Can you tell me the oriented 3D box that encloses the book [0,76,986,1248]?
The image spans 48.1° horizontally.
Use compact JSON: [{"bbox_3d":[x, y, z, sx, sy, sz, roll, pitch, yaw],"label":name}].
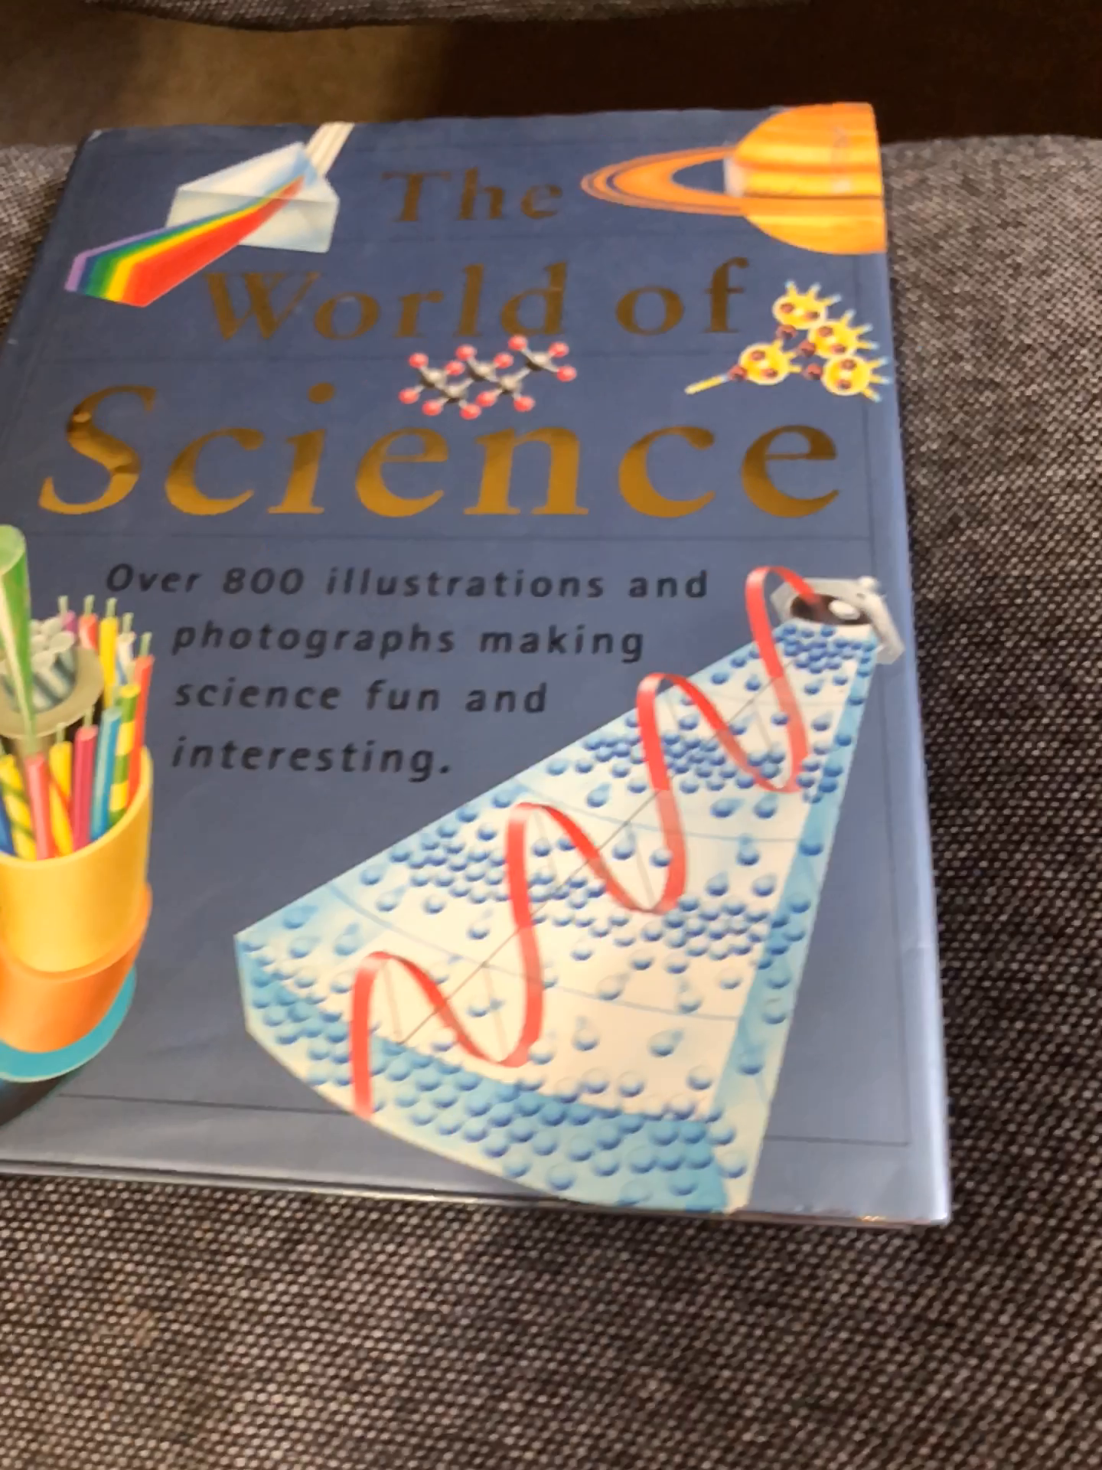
[{"bbox_3d":[-0.034,-0.041,0.277,0.220,0.030,0.276,1,62,6],"label":"book"}]
